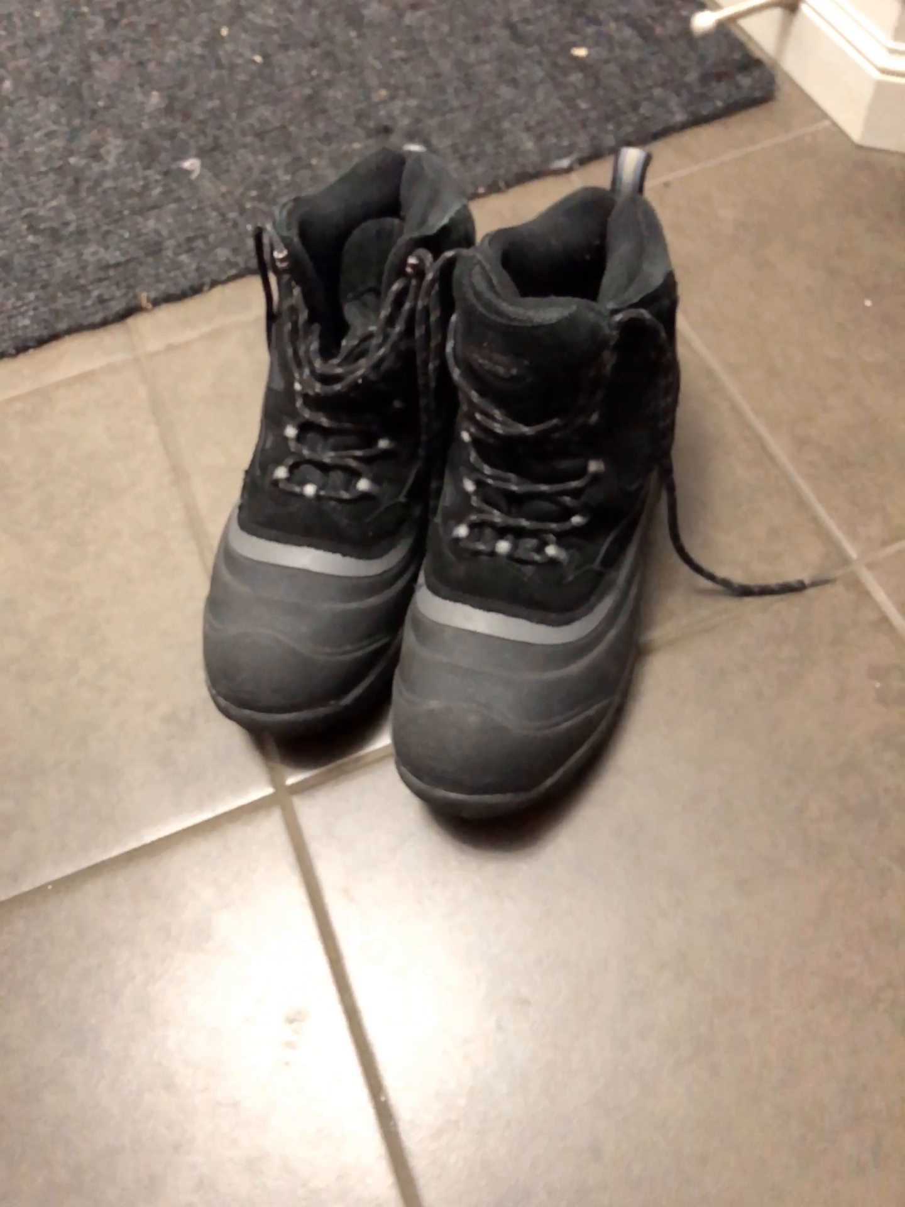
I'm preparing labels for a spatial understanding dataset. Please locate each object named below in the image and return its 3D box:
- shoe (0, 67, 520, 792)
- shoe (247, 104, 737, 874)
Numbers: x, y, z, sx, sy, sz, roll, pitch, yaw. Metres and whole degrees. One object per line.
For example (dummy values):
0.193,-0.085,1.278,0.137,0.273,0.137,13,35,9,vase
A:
-0.065,-0.087,0.518,0.120,0.200,0.290,13,62,13,shoe
0.037,-0.053,0.486,0.120,0.200,0.290,12,62,12,shoe
